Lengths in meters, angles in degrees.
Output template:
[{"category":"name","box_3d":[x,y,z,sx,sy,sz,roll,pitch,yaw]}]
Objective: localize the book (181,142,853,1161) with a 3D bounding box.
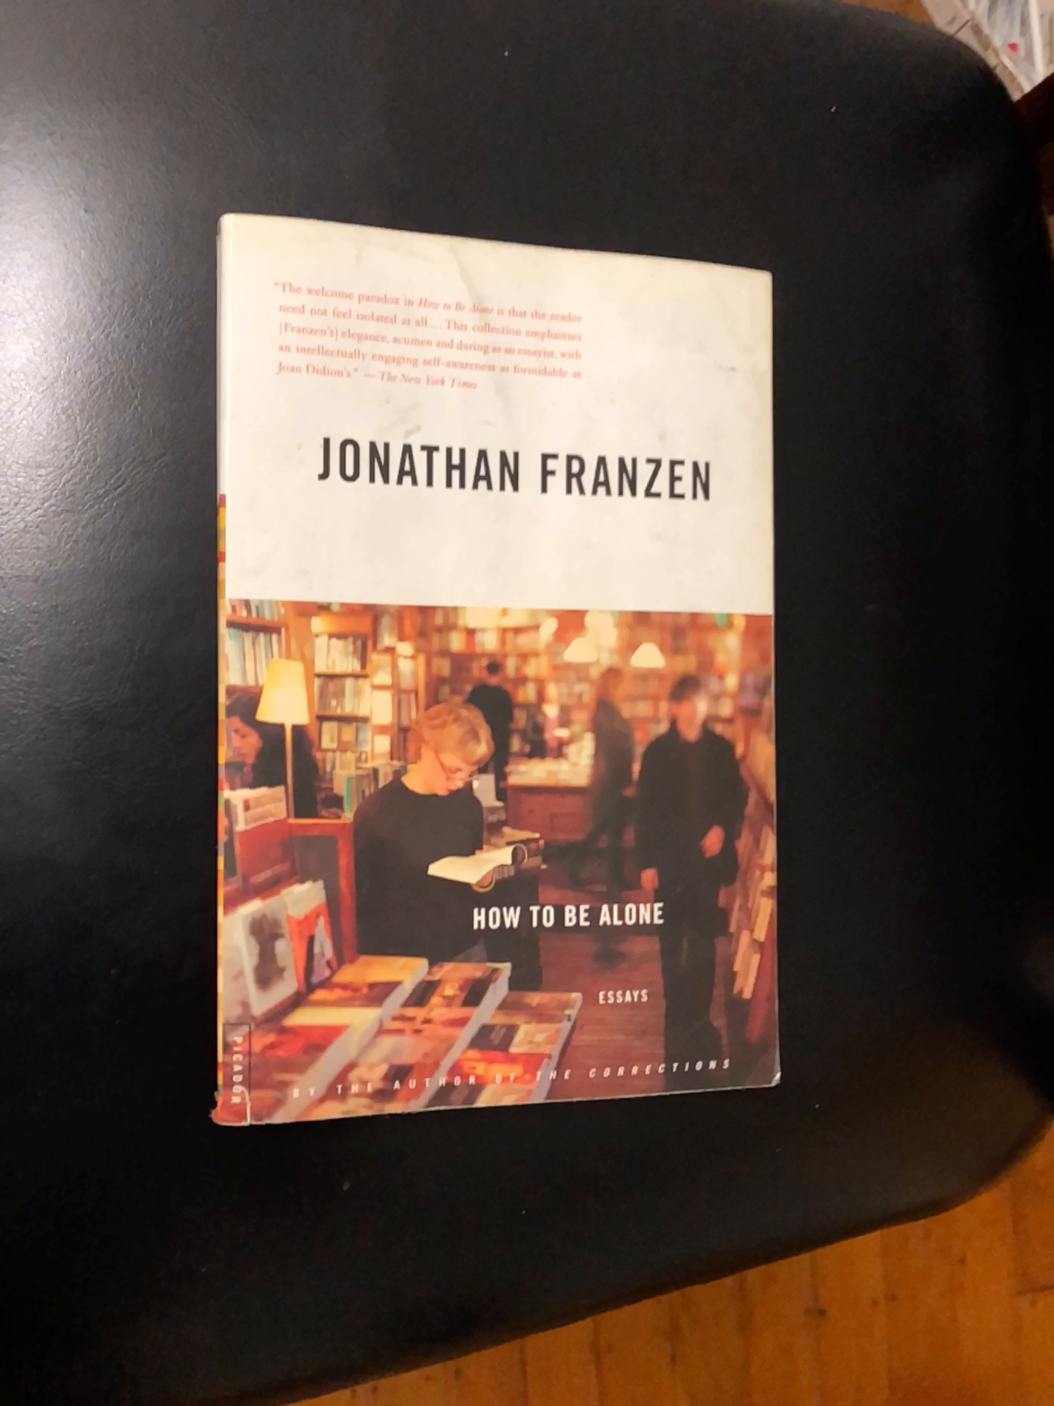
[{"category":"book","box_3d":[-0.001,-0.011,0.299,0.160,0.040,0.230,1,89,-11]}]
